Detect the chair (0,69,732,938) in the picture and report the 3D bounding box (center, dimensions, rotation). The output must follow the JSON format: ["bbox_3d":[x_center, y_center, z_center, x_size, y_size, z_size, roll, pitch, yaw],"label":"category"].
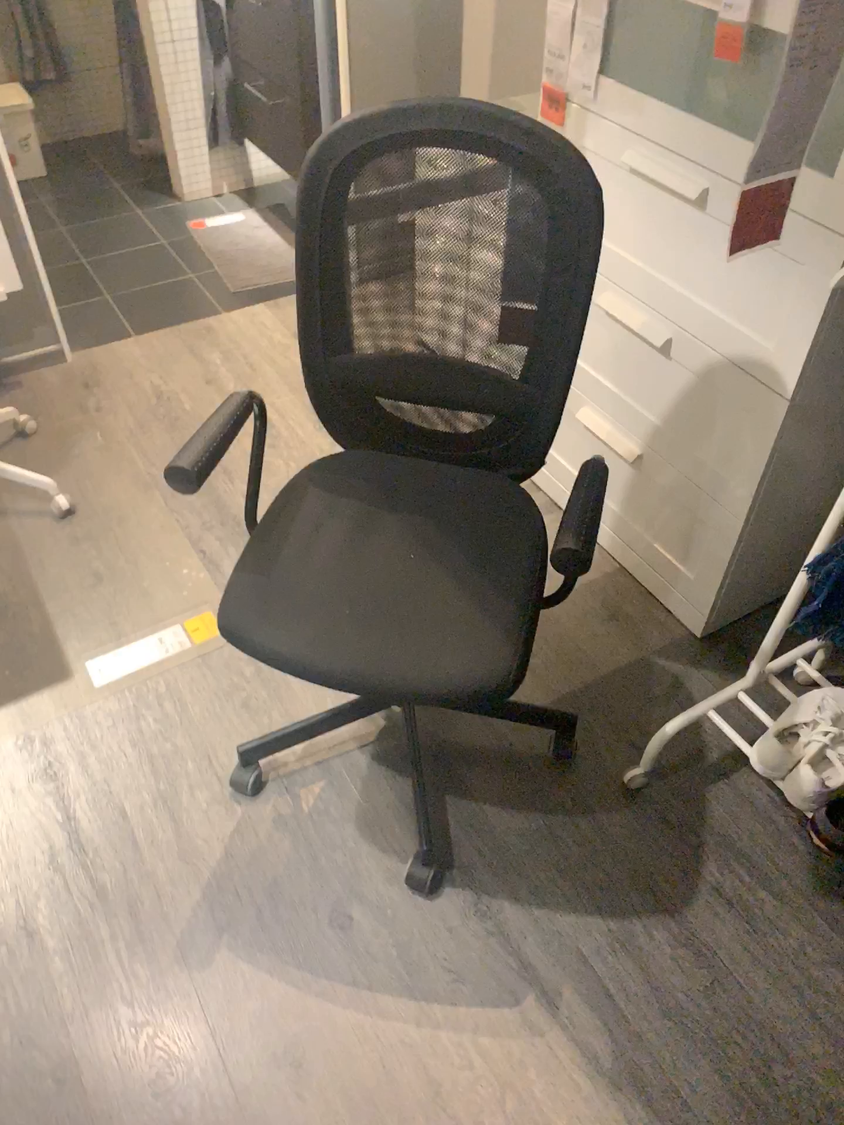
[{"bbox_3d":[-0.010,-0.060,1.274,0.640,0.976,0.682,12,46,11],"label":"chair"}]
